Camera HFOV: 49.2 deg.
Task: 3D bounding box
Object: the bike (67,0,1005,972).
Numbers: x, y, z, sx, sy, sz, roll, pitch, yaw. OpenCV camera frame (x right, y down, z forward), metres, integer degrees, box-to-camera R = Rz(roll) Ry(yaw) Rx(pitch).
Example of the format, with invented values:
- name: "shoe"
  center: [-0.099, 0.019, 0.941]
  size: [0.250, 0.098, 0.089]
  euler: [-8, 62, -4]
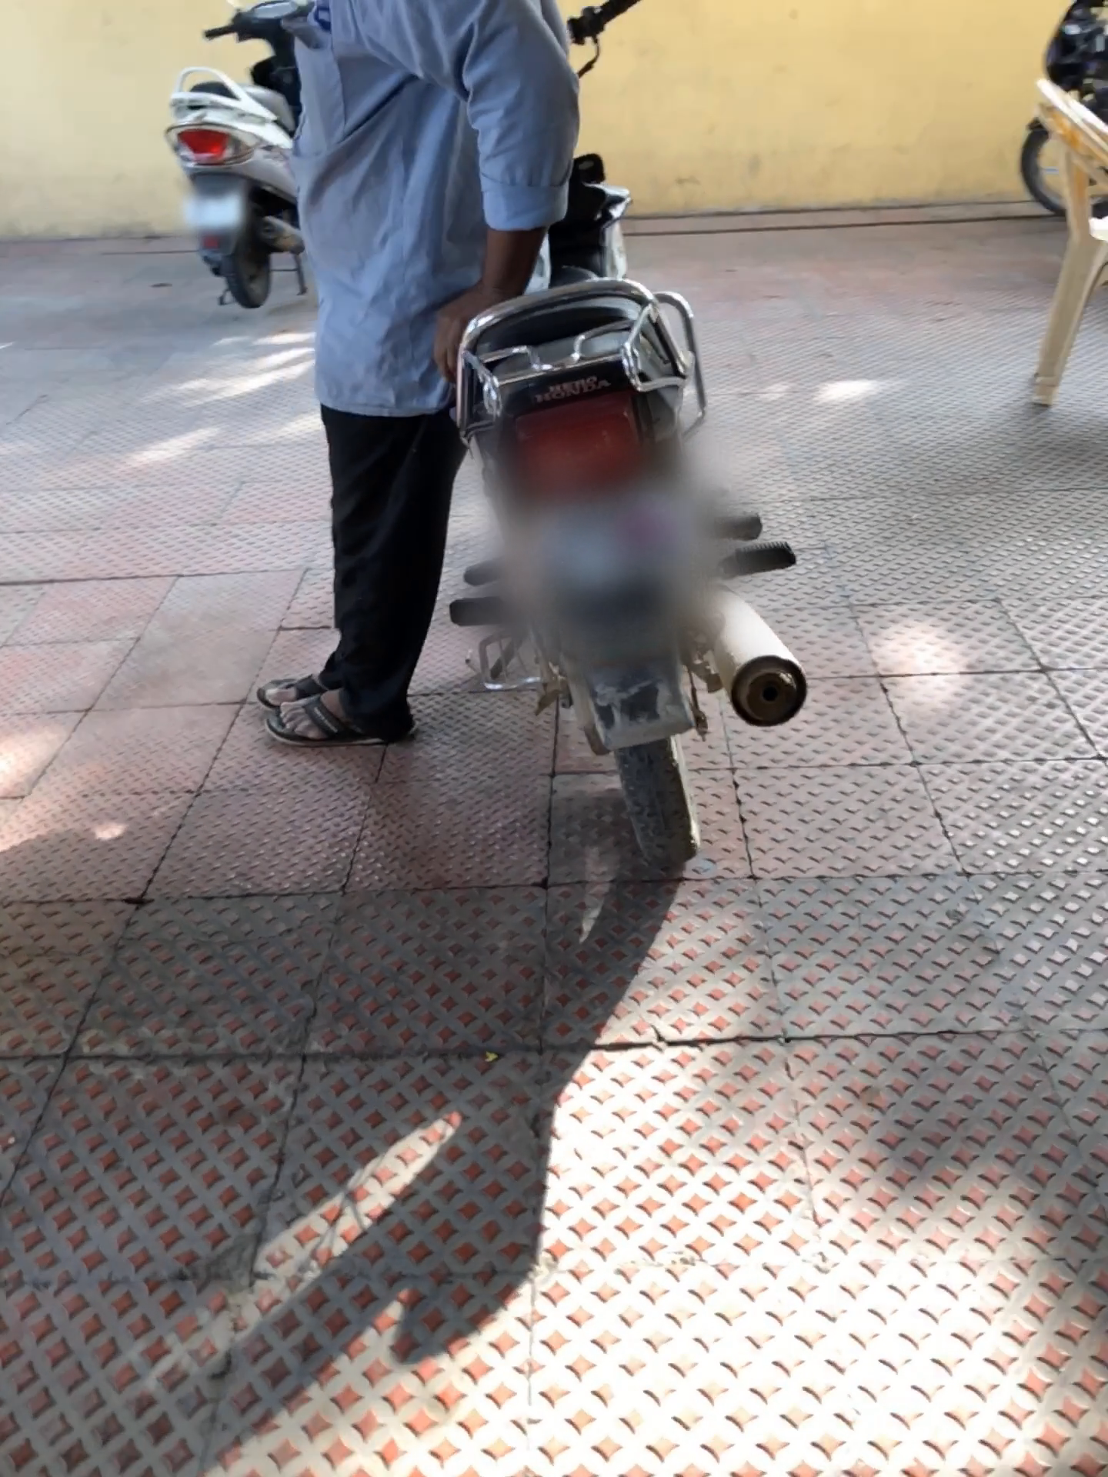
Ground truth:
- name: "bike"
  center: [-0.033, -0.545, 1.872]
  size: [0.817, 1.063, 1.307]
  euler: [-5, 34, -2]
